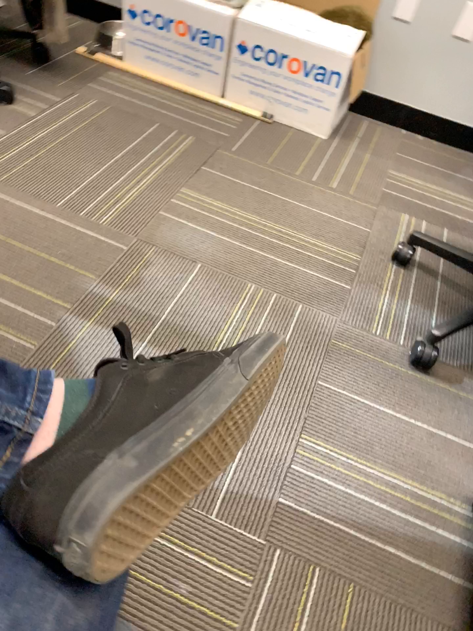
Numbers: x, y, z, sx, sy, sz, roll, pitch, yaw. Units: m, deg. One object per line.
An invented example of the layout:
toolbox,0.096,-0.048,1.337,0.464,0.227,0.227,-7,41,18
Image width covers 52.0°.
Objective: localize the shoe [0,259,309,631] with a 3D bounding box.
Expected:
shoe,-0.067,0.088,0.408,0.135,0.120,0.261,26,47,22
